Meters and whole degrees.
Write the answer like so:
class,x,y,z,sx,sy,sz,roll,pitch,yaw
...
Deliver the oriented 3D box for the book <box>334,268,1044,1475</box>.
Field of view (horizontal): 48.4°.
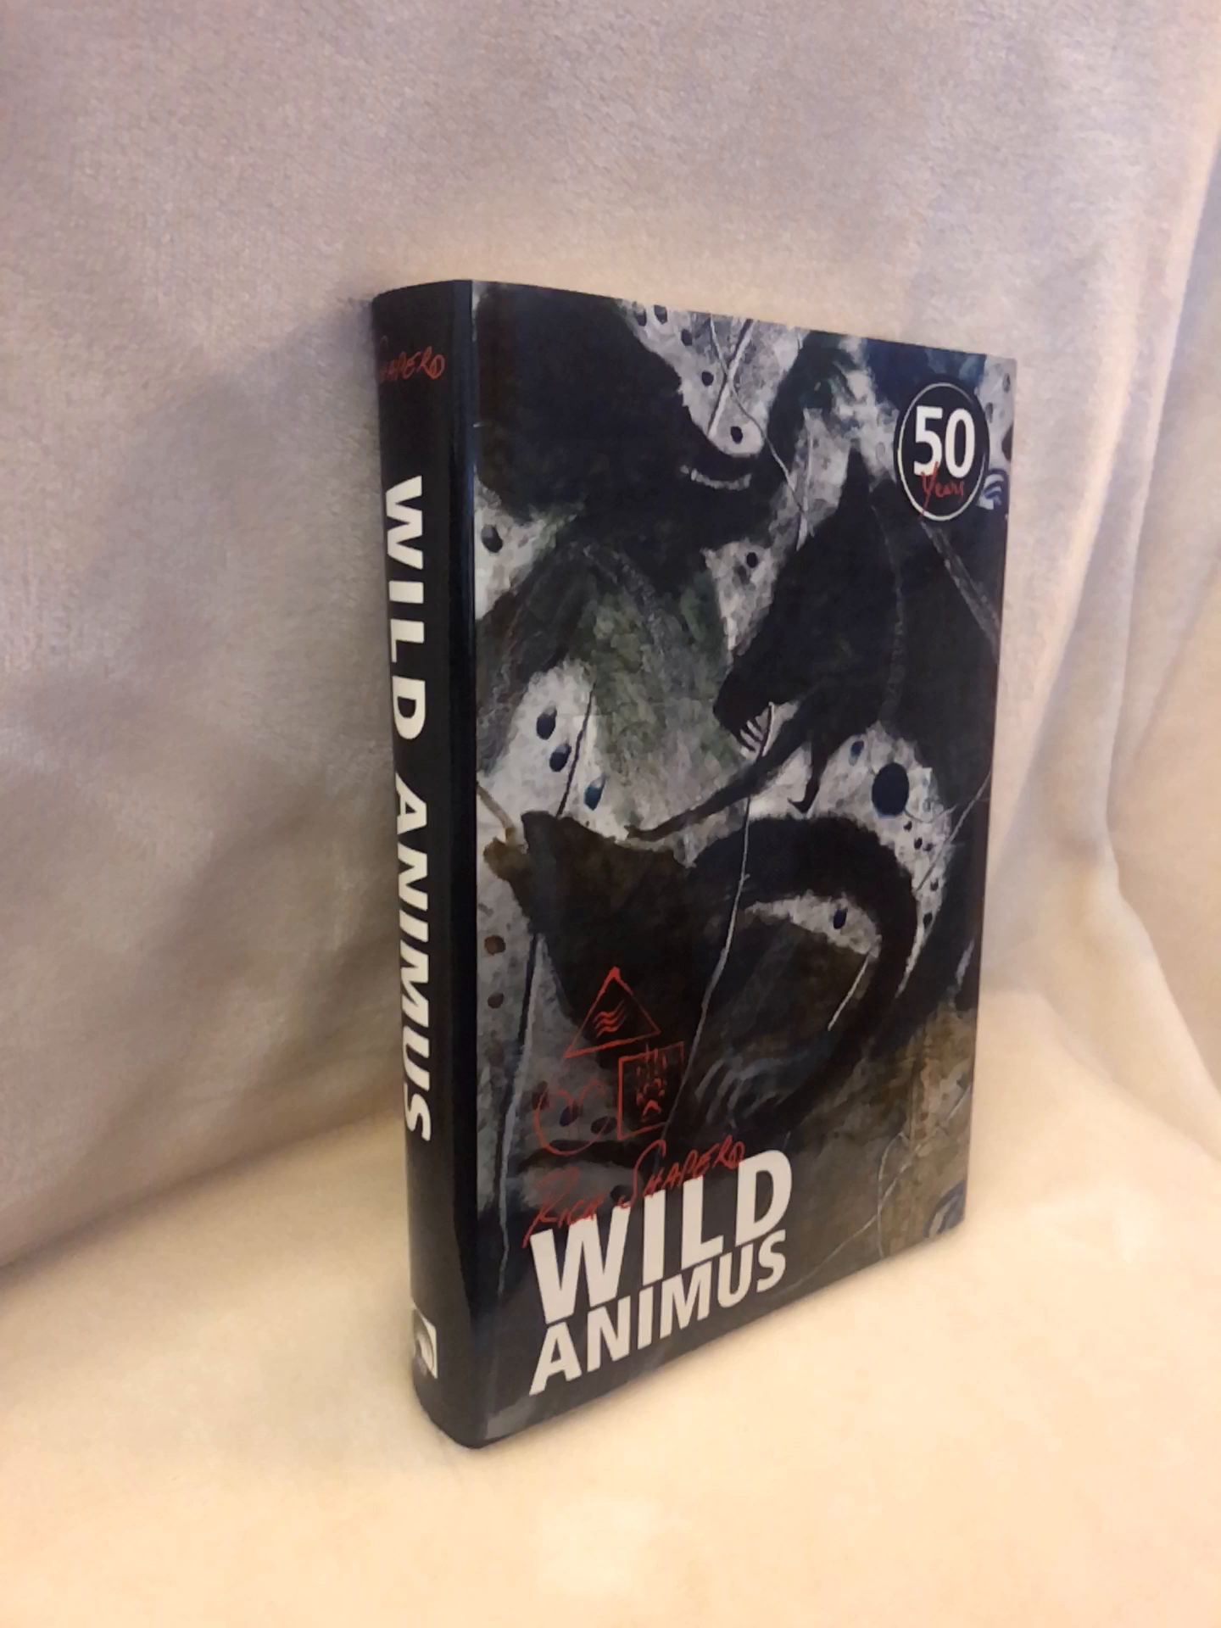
class,x,y,z,sx,sy,sz,roll,pitch,yaw
book,0.027,0.005,0.306,0.164,0.217,0.043,-9,12,-38
